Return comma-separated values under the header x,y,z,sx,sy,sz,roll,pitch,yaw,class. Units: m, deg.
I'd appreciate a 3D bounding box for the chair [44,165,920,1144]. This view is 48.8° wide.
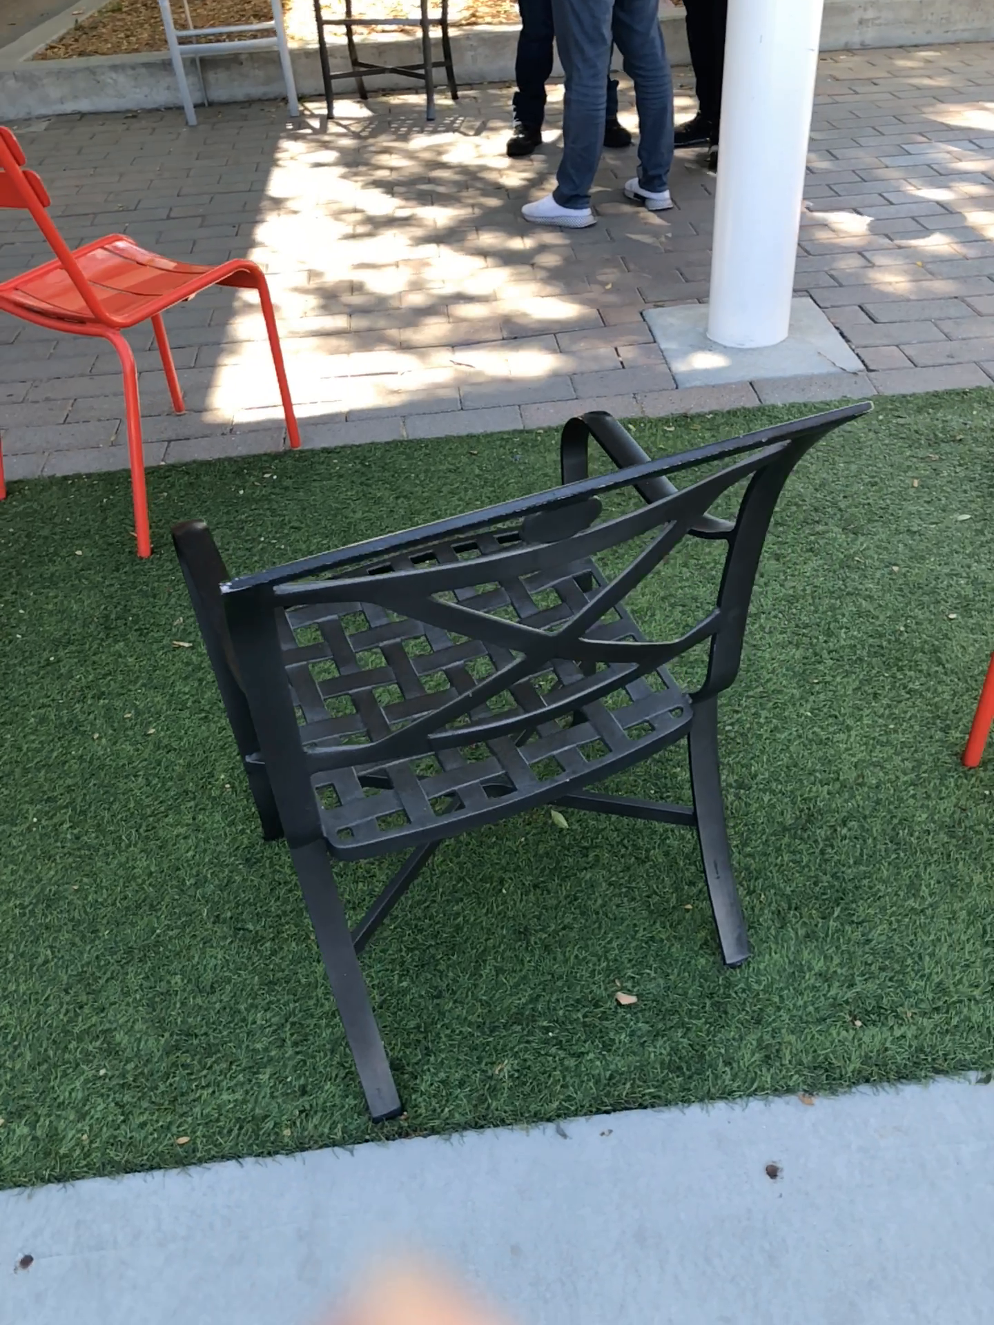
x,y,z,sx,sy,sz,roll,pitch,yaw,class
-0.054,-0.037,1.312,0.640,0.806,0.643,-18,42,-17,chair
